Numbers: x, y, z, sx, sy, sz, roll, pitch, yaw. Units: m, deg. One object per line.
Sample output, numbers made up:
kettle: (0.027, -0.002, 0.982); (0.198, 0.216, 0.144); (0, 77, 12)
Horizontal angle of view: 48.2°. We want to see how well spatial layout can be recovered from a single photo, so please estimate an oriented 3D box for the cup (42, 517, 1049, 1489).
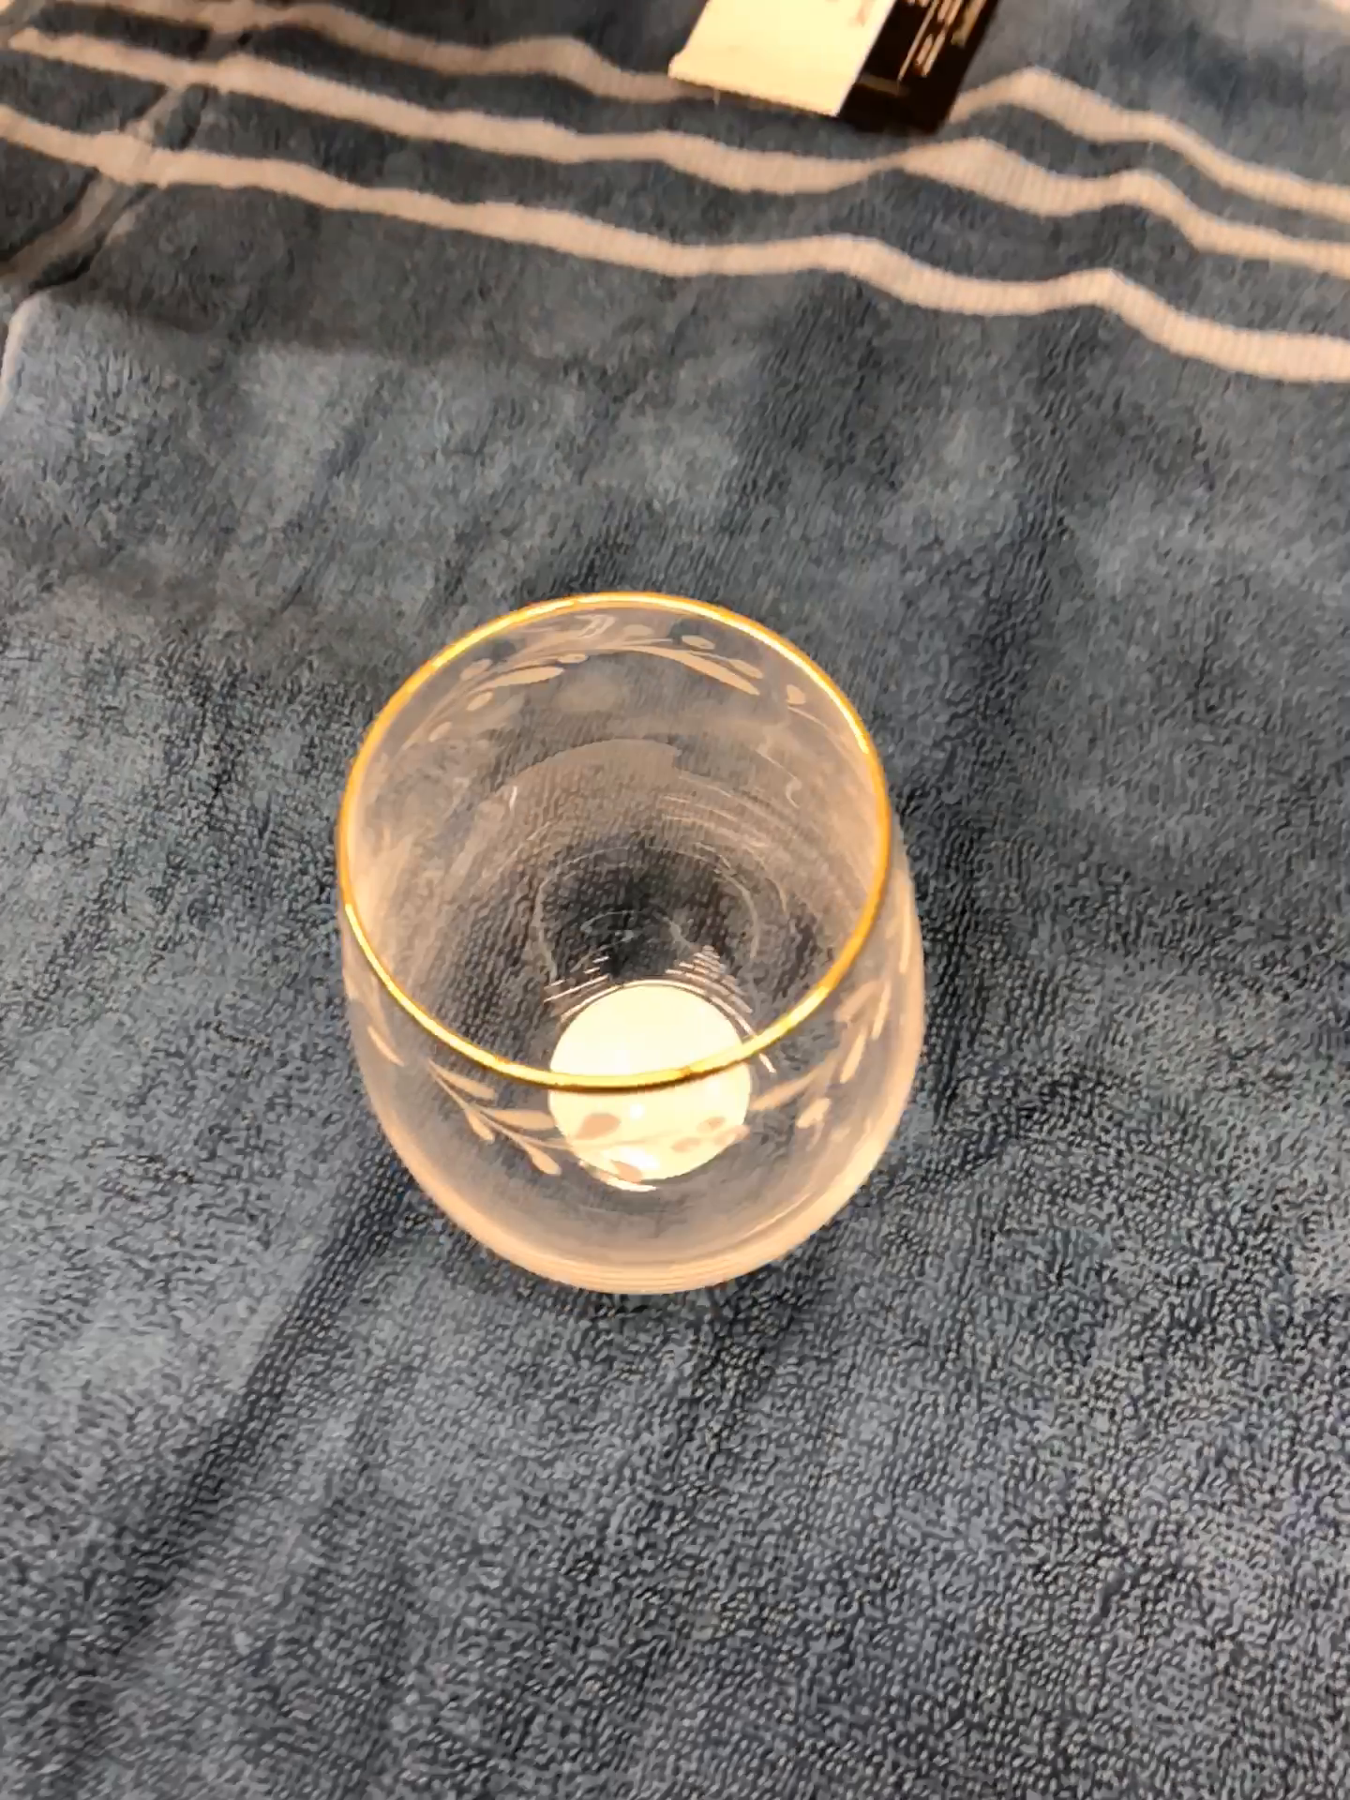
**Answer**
cup: (-0.009, 0.022, 0.215); (0.090, 0.100, 0.090); (-1, 66, 2)
